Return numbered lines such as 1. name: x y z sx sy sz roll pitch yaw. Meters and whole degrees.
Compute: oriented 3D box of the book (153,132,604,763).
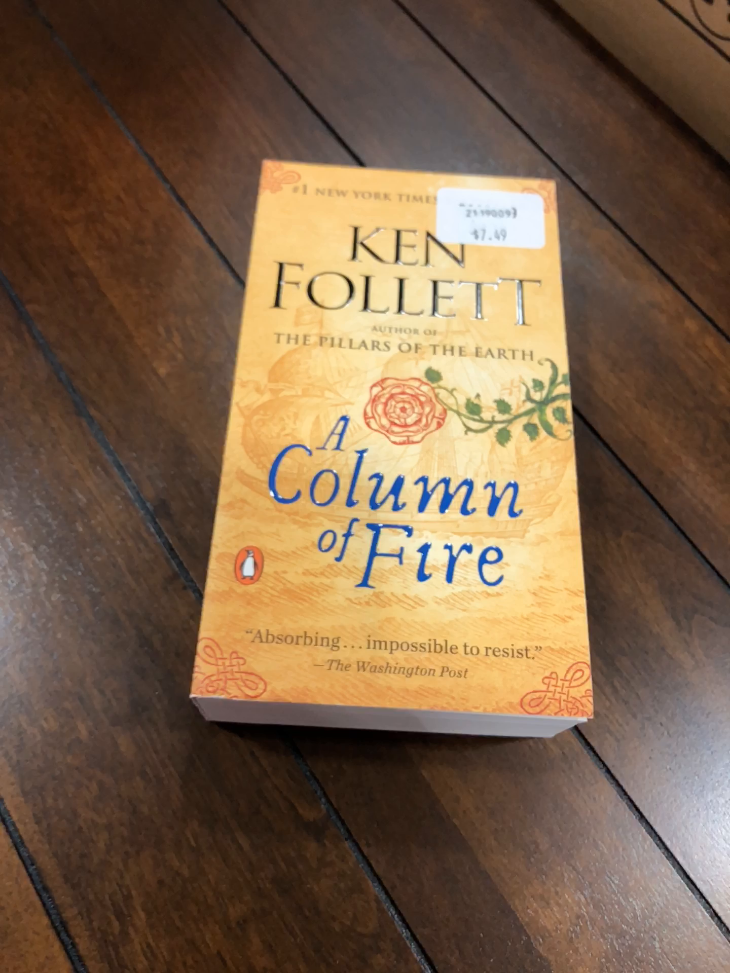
1. book: 0.007 -0.020 0.260 0.110 0.040 0.195 4 64 -3
